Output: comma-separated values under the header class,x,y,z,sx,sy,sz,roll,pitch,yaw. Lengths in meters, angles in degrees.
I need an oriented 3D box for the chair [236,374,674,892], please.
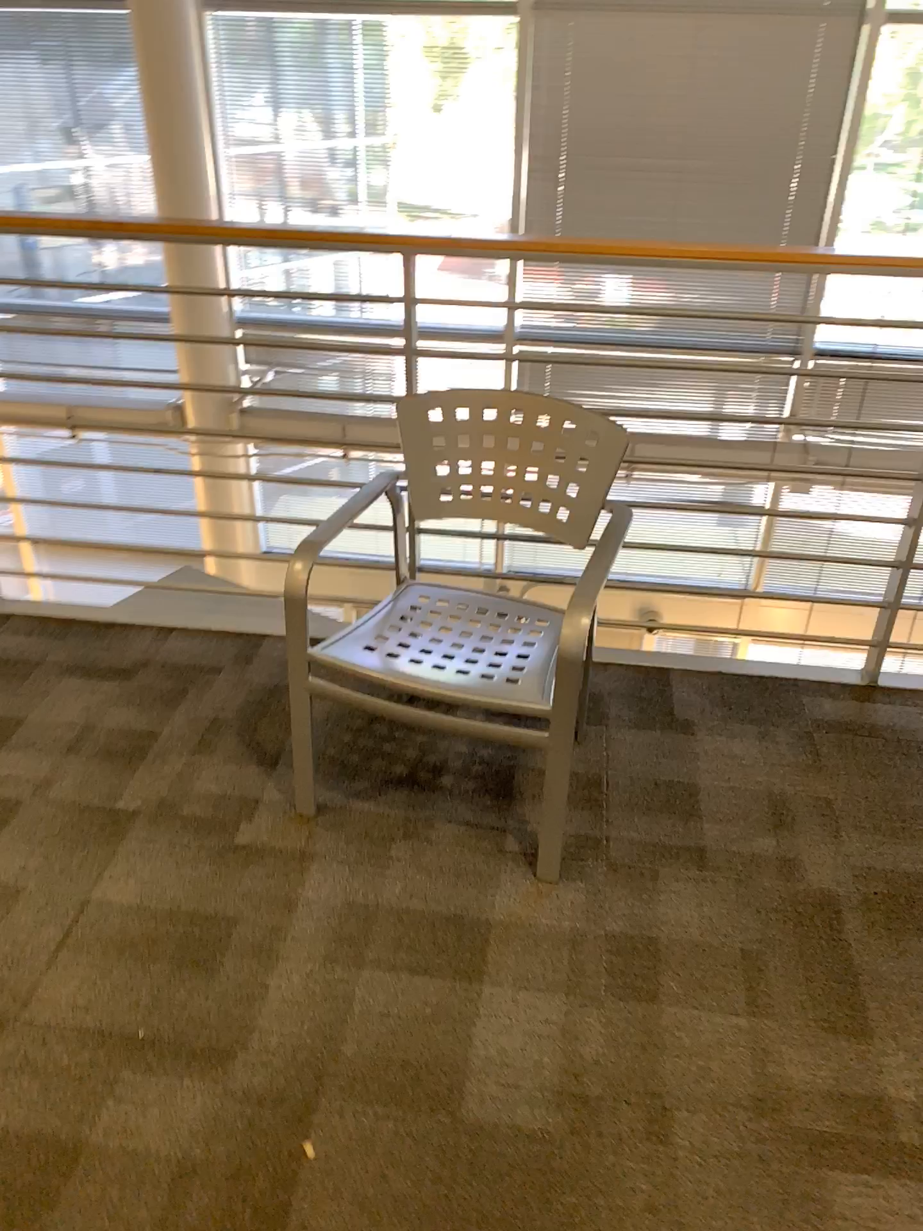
class,x,y,z,sx,sy,sz,roll,pitch,yaw
chair,0.022,-0.005,2.022,0.681,0.755,0.683,10,33,13
